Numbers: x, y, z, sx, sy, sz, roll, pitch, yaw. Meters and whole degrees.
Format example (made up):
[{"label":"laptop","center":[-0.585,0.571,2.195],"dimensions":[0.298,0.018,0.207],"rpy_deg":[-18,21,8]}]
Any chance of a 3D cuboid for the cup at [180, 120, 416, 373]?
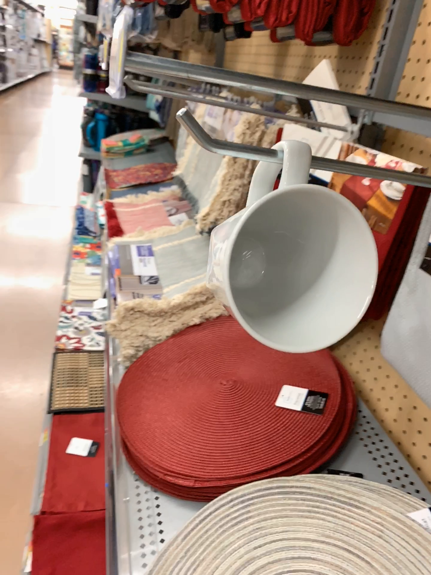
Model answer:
[{"label":"cup","center":[0.035,-0.032,0.286],"dimensions":[0.090,0.120,0.140],"rpy_deg":[1,13,-13]}]
